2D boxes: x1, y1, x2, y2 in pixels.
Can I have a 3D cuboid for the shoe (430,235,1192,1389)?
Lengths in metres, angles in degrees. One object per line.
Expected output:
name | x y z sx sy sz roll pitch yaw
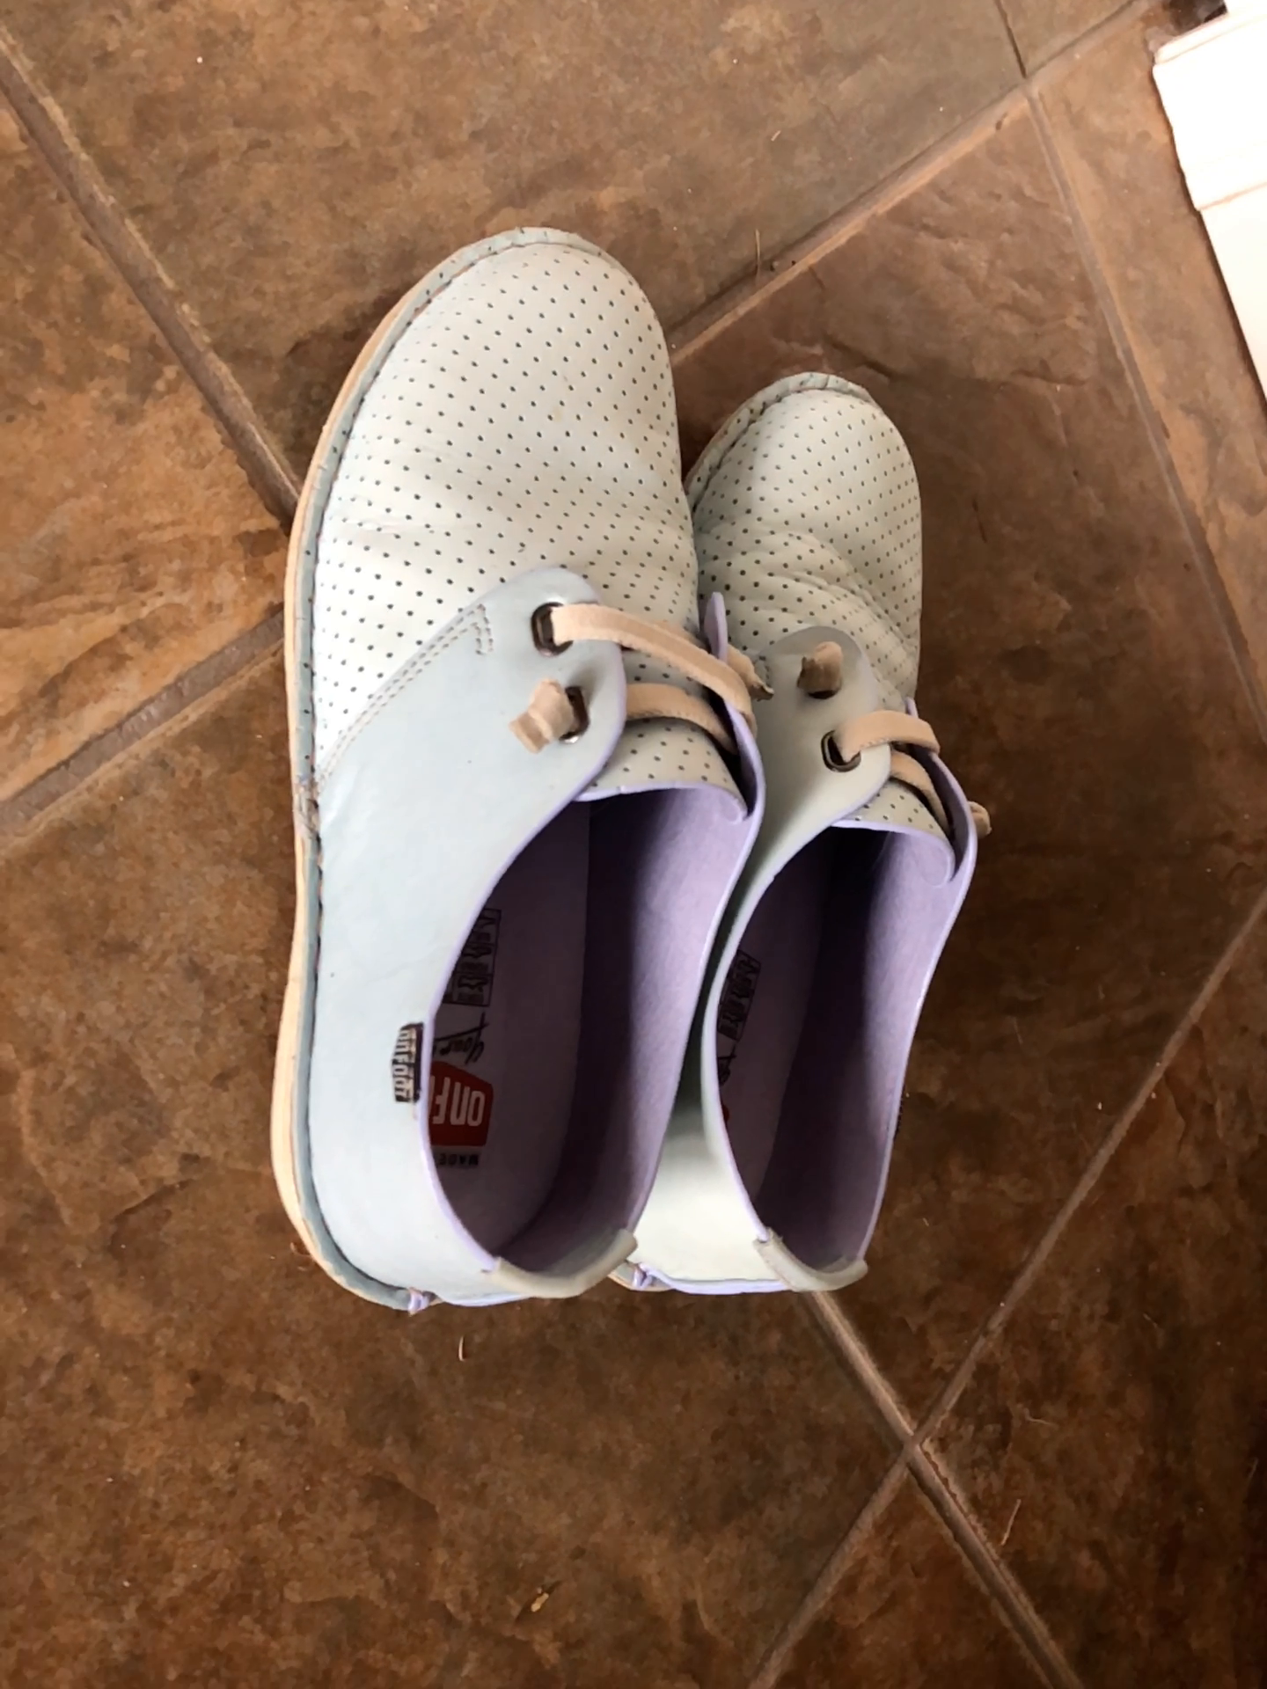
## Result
shoe | 0.050 -0.006 0.364 0.100 0.100 0.250 24 76 -36

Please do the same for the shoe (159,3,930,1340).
shoe | -0.019 -0.029 0.322 0.100 0.100 0.250 14 82 -37
